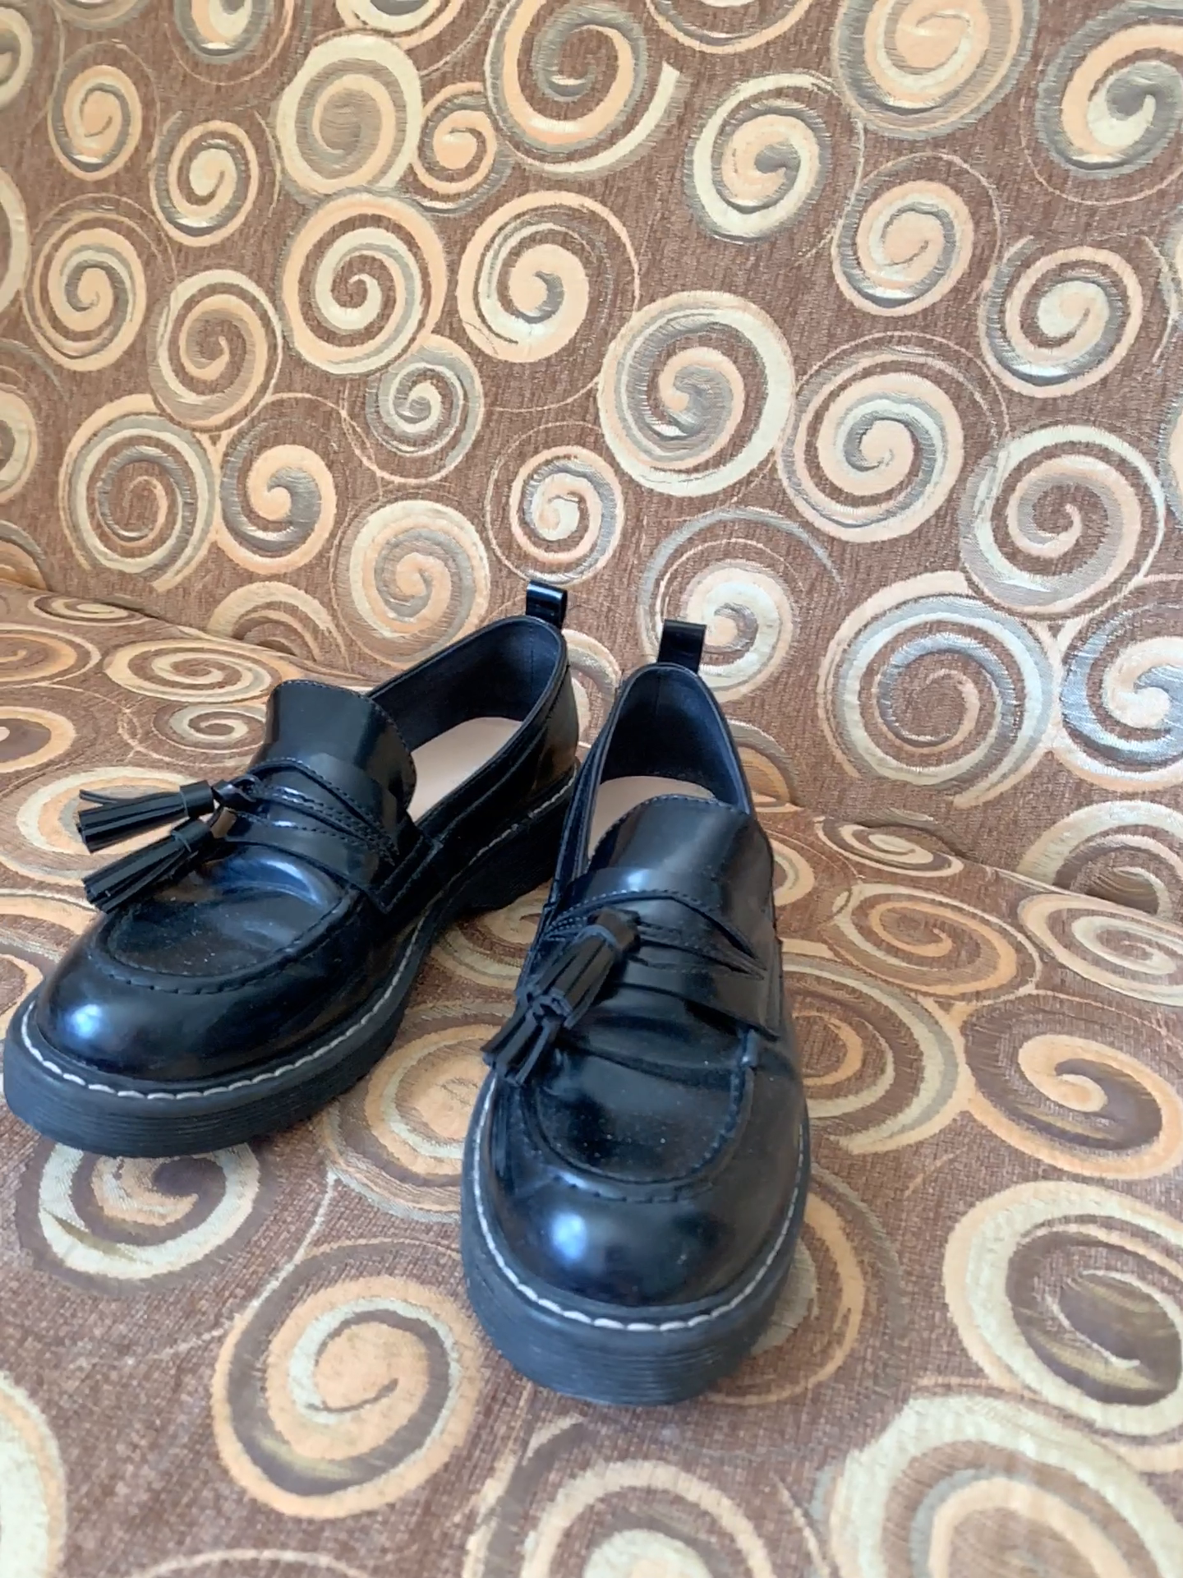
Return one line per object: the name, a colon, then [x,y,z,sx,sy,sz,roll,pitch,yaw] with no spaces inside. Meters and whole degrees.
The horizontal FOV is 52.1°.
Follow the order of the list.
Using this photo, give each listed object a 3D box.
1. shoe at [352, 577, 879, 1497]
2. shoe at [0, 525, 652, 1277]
shoe: [0.011,0.038,0.333,0.090,0.099,0.241,8,31,2]
shoe: [-0.080,0.009,0.372,0.090,0.099,0.241,20,34,21]
